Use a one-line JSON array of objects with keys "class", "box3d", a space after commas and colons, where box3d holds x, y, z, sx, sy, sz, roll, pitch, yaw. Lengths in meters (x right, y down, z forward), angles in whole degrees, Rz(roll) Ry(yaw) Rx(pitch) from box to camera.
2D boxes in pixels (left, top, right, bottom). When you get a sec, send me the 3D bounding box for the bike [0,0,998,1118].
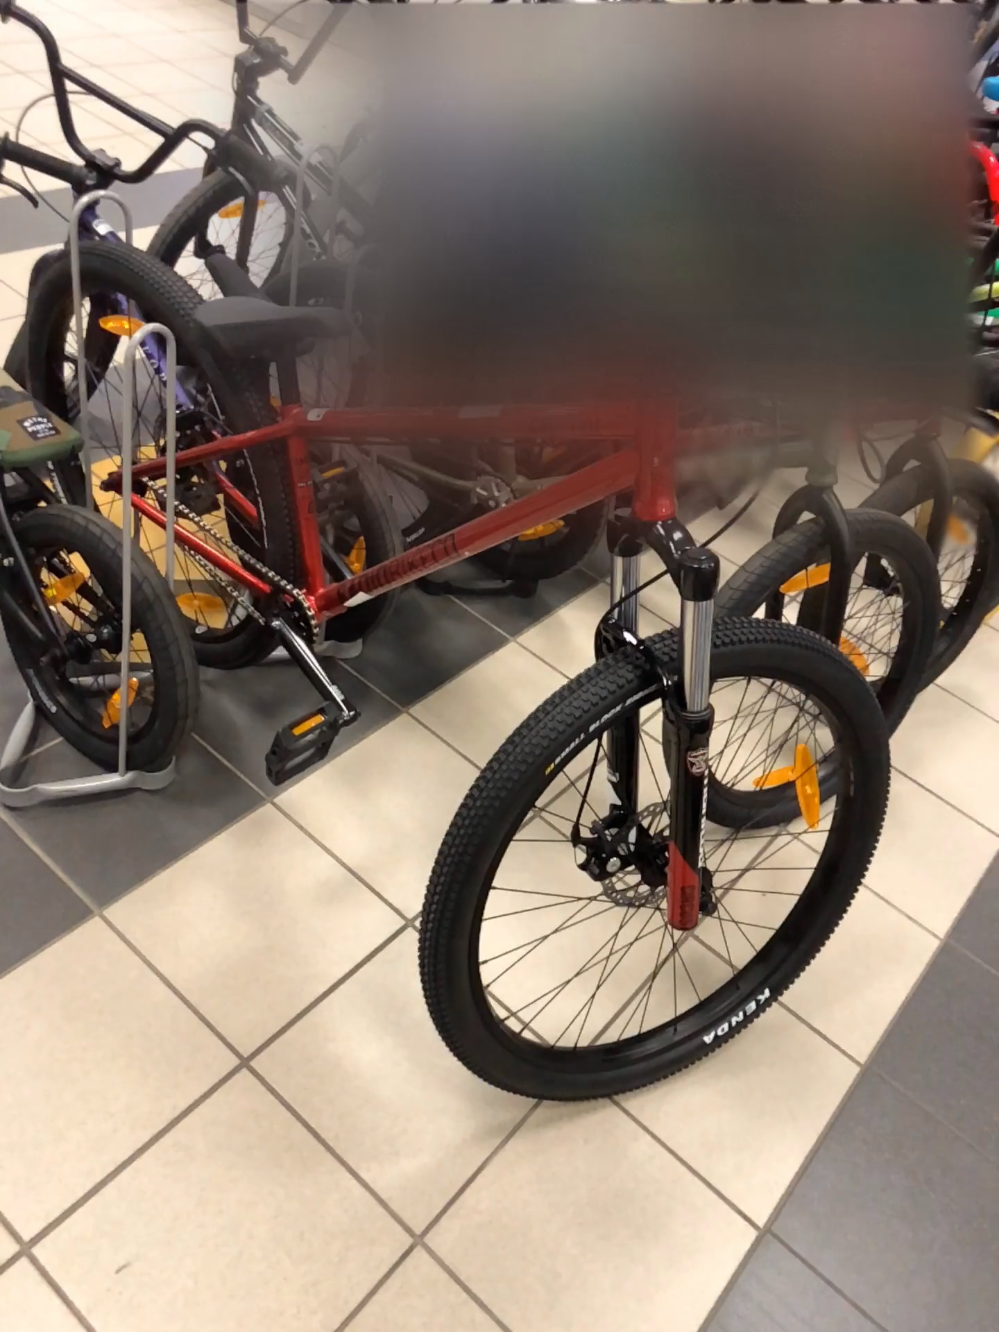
[{"class": "bike", "box3d": [-0.160, -0.274, 1.411, 1.337, 0.998, 0.715, 28, 42, 17]}]
